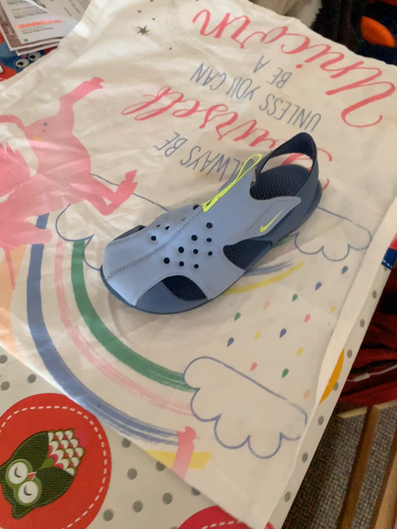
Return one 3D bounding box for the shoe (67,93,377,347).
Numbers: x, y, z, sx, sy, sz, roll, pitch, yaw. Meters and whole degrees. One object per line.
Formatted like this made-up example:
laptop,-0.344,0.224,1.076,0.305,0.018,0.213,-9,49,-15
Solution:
shoe,0.021,-0.037,0.340,0.216,0.090,0.087,-31,70,-14
